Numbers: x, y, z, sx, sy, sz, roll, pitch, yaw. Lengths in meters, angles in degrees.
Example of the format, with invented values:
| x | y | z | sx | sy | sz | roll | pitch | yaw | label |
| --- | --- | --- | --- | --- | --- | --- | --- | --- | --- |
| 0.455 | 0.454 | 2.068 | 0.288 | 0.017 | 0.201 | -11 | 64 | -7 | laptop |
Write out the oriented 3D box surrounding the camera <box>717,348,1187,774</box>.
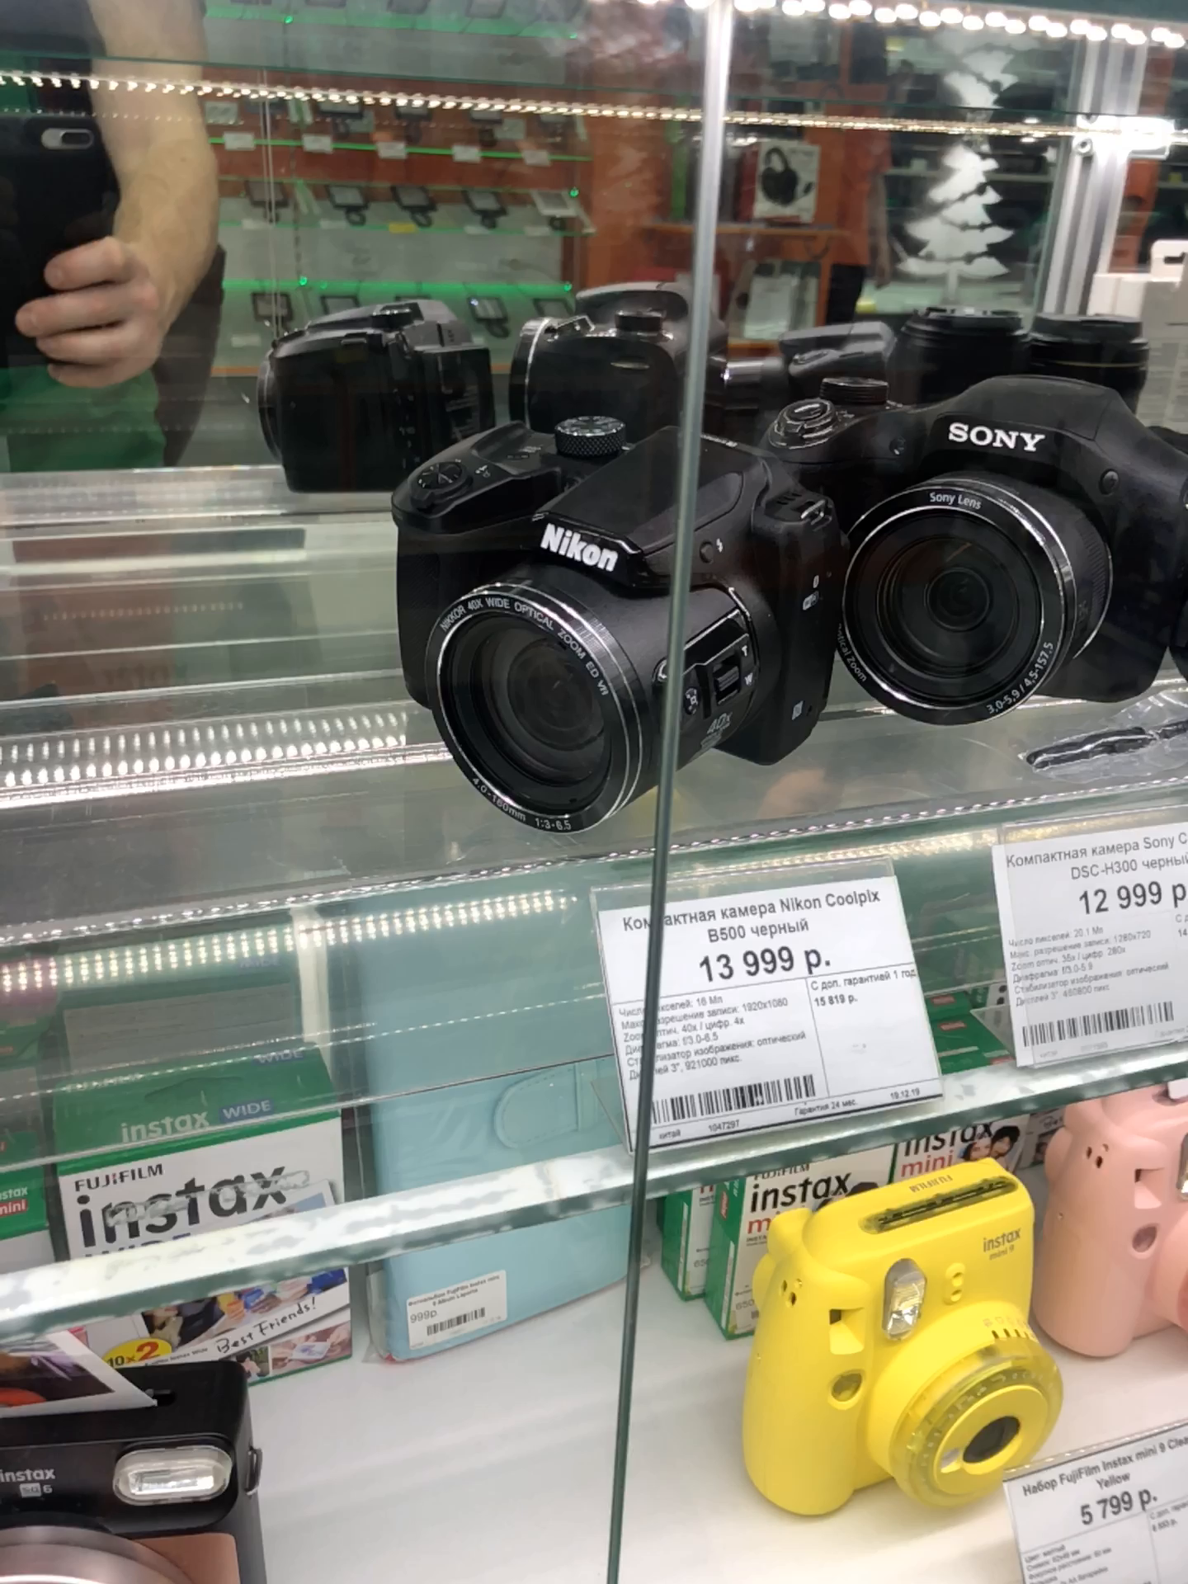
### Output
| x | y | z | sx | sy | sz | roll | pitch | yaw | label |
| --- | --- | --- | --- | --- | --- | --- | --- | --- | --- |
| 0.111 | -0.075 | 0.380 | 0.114 | 0.084 | 0.099 | 16 | 30 | 30 | camera |

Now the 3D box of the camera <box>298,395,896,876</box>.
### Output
| x | y | z | sx | sy | sz | roll | pitch | yaw | label |
| --- | --- | --- | --- | --- | --- | --- | --- | --- | --- |
| 0.002 | -0.049 | 0.335 | 0.110 | 0.080 | 0.099 | 17 | 28 | 28 | camera |
